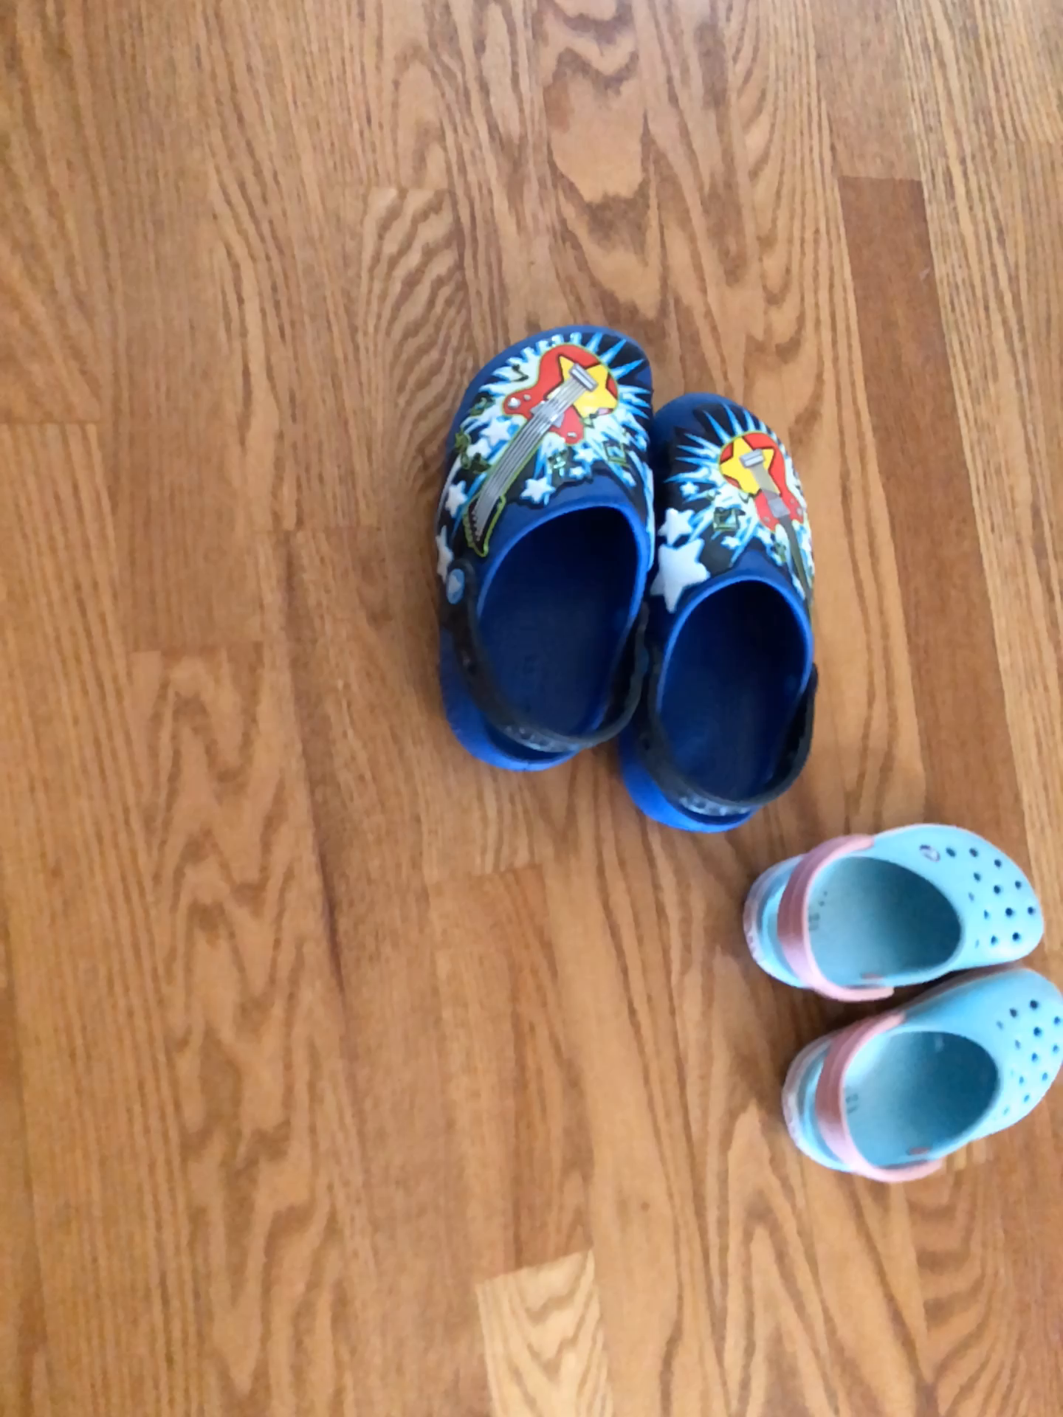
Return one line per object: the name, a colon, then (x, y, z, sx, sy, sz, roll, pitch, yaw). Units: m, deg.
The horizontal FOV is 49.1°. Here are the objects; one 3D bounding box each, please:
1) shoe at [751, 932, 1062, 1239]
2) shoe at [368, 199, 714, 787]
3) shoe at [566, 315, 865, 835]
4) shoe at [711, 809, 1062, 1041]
shoe: (0.203, 0.177, 0.569, 0.170, 0.050, 0.090, -12, 86, -20)
shoe: (0.005, -0.089, 0.521, 0.110, 0.070, 0.230, 11, 79, -17)
shoe: (0.087, -0.056, 0.551, 0.110, 0.070, 0.220, 7, 80, -18)
shoe: (0.181, 0.103, 0.574, 0.170, 0.050, 0.090, -3, 83, -20)
